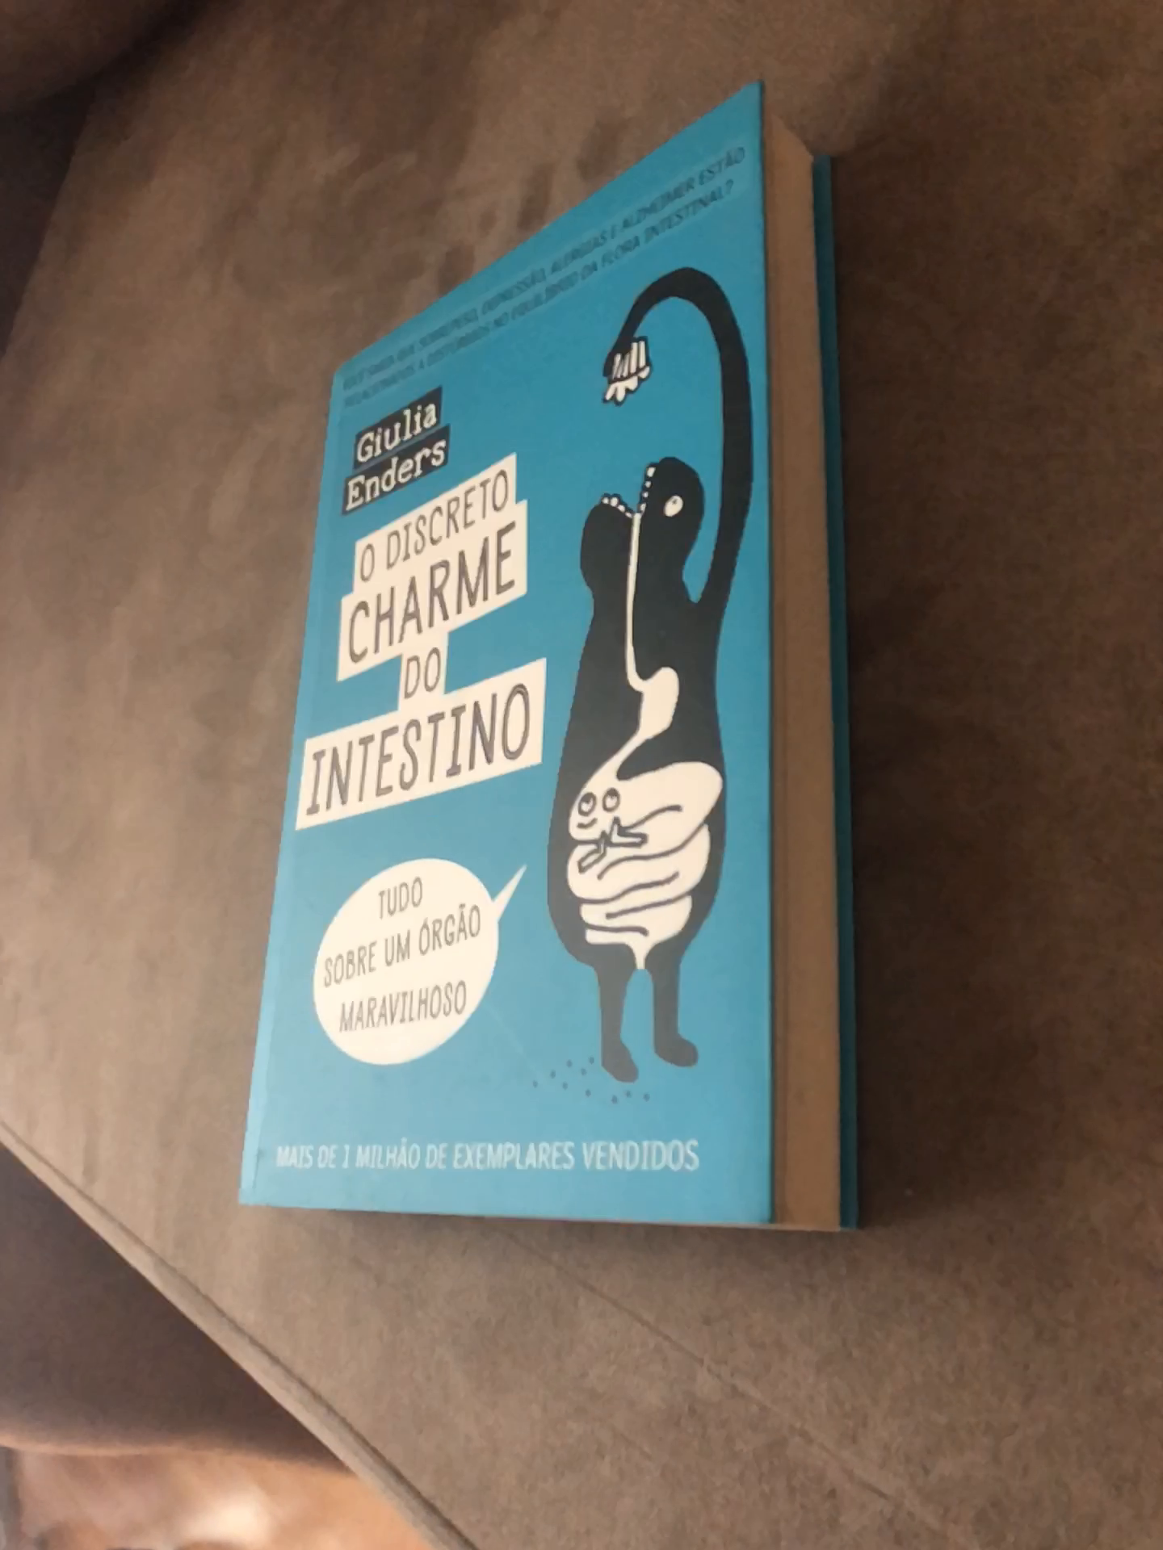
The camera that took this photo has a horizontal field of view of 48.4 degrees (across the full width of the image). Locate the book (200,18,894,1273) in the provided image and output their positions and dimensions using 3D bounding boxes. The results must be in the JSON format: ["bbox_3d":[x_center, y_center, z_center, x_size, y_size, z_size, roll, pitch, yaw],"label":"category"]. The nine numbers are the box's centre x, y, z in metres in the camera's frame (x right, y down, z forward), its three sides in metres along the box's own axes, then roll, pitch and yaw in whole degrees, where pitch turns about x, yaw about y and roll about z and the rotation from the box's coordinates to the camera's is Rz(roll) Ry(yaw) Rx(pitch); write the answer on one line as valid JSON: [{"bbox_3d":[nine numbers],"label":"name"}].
[{"bbox_3d":[-0.010,-0.021,0.263,0.141,0.030,0.220,-15,64,41],"label":"book"}]
